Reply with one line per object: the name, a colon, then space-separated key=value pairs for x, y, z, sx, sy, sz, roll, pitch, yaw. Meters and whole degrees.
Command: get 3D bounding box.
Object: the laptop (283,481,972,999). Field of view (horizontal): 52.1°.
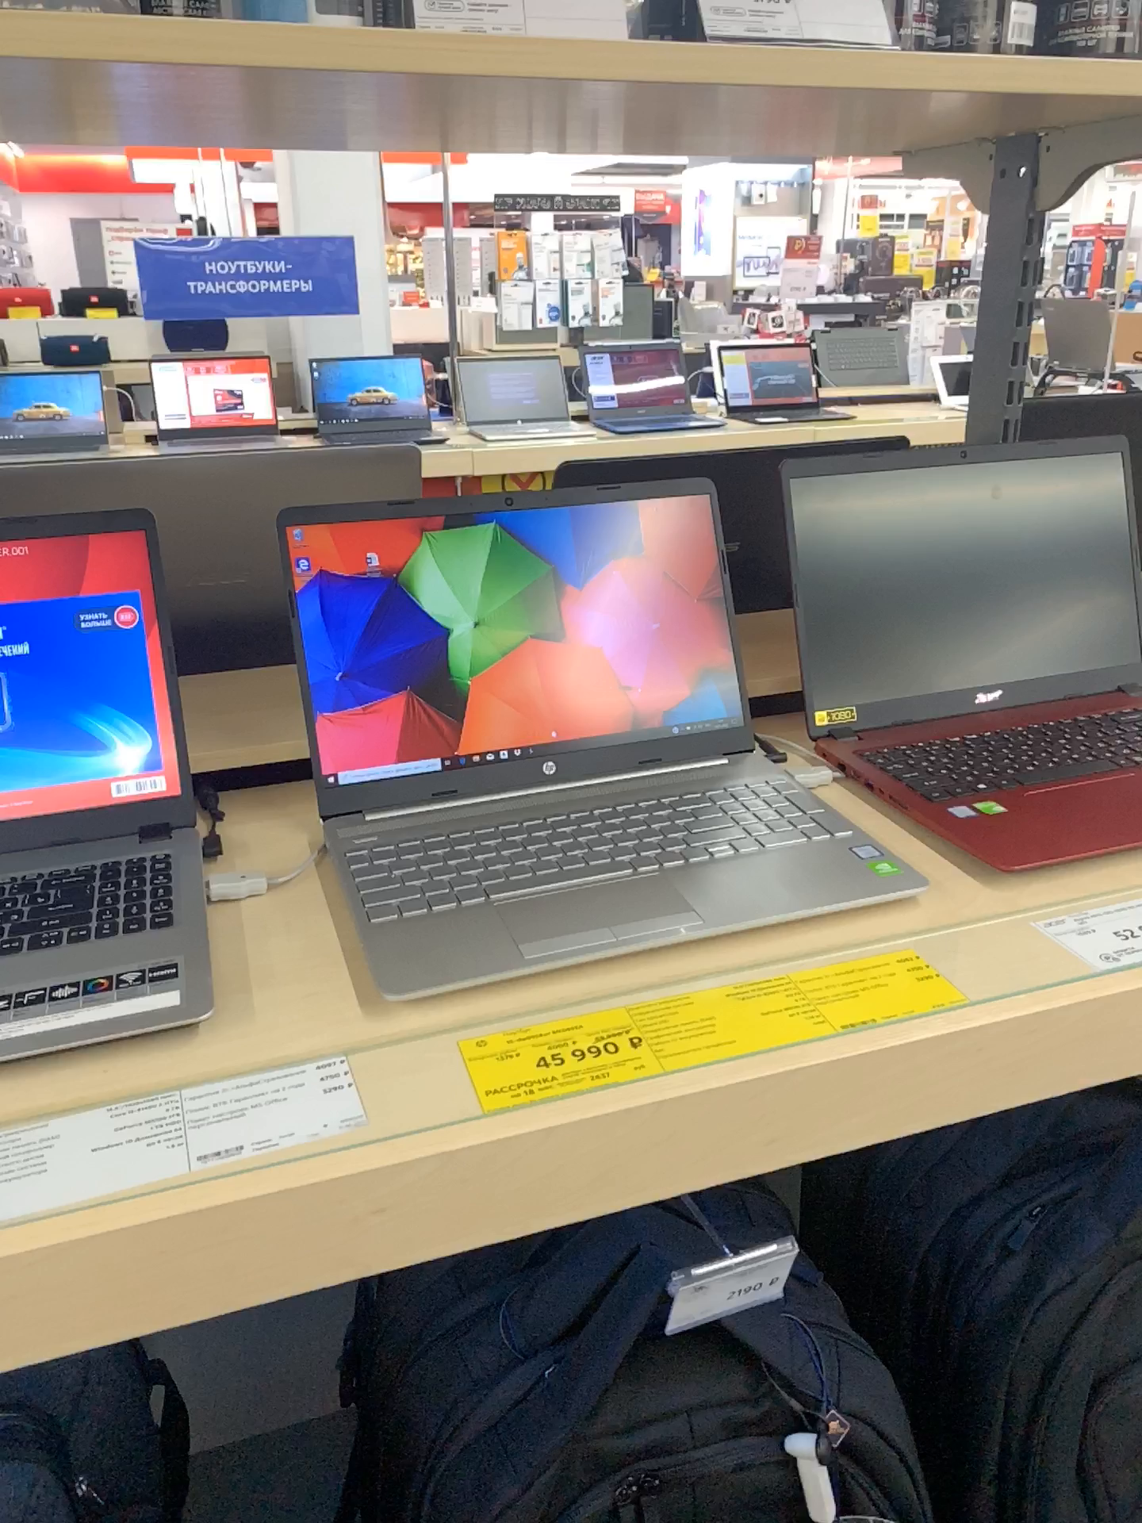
laptop: x=0.010 y=-0.052 z=0.820 sx=0.360 sy=0.209 sz=0.348 roll=-8 pitch=24 yaw=-17
